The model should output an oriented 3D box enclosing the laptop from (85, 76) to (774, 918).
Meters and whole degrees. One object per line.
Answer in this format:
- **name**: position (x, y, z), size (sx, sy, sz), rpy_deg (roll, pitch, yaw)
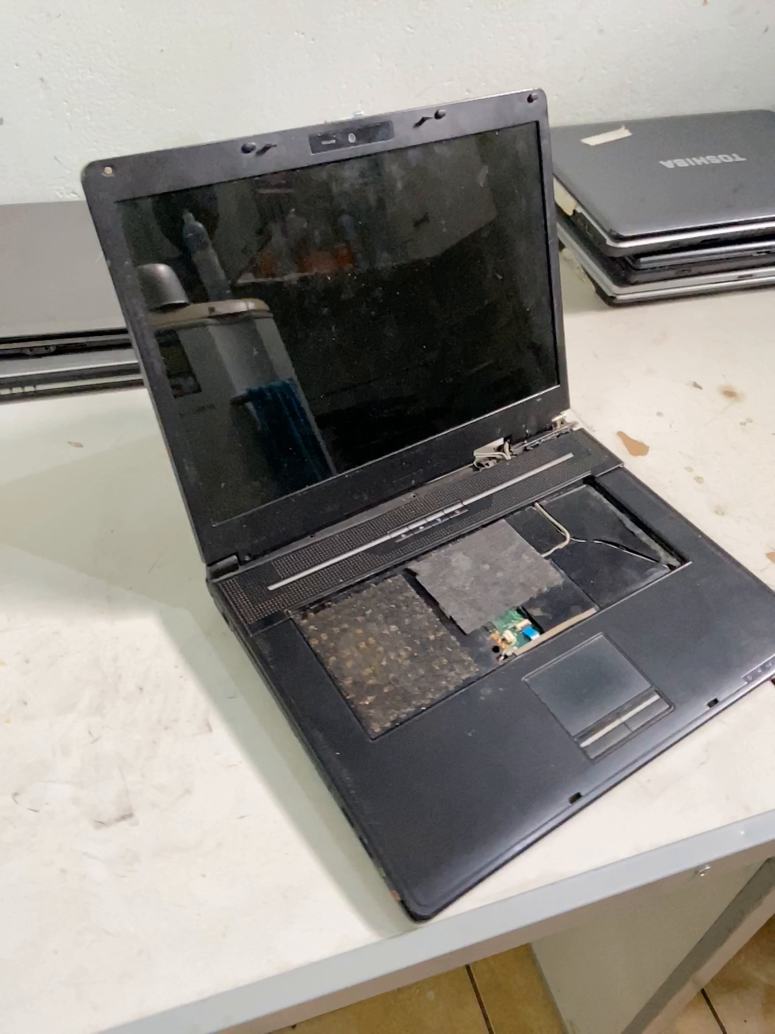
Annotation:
- **laptop**: position (0.062, -0.064, 0.508), size (0.345, 0.235, 0.380), rpy_deg (-23, 52, -24)
